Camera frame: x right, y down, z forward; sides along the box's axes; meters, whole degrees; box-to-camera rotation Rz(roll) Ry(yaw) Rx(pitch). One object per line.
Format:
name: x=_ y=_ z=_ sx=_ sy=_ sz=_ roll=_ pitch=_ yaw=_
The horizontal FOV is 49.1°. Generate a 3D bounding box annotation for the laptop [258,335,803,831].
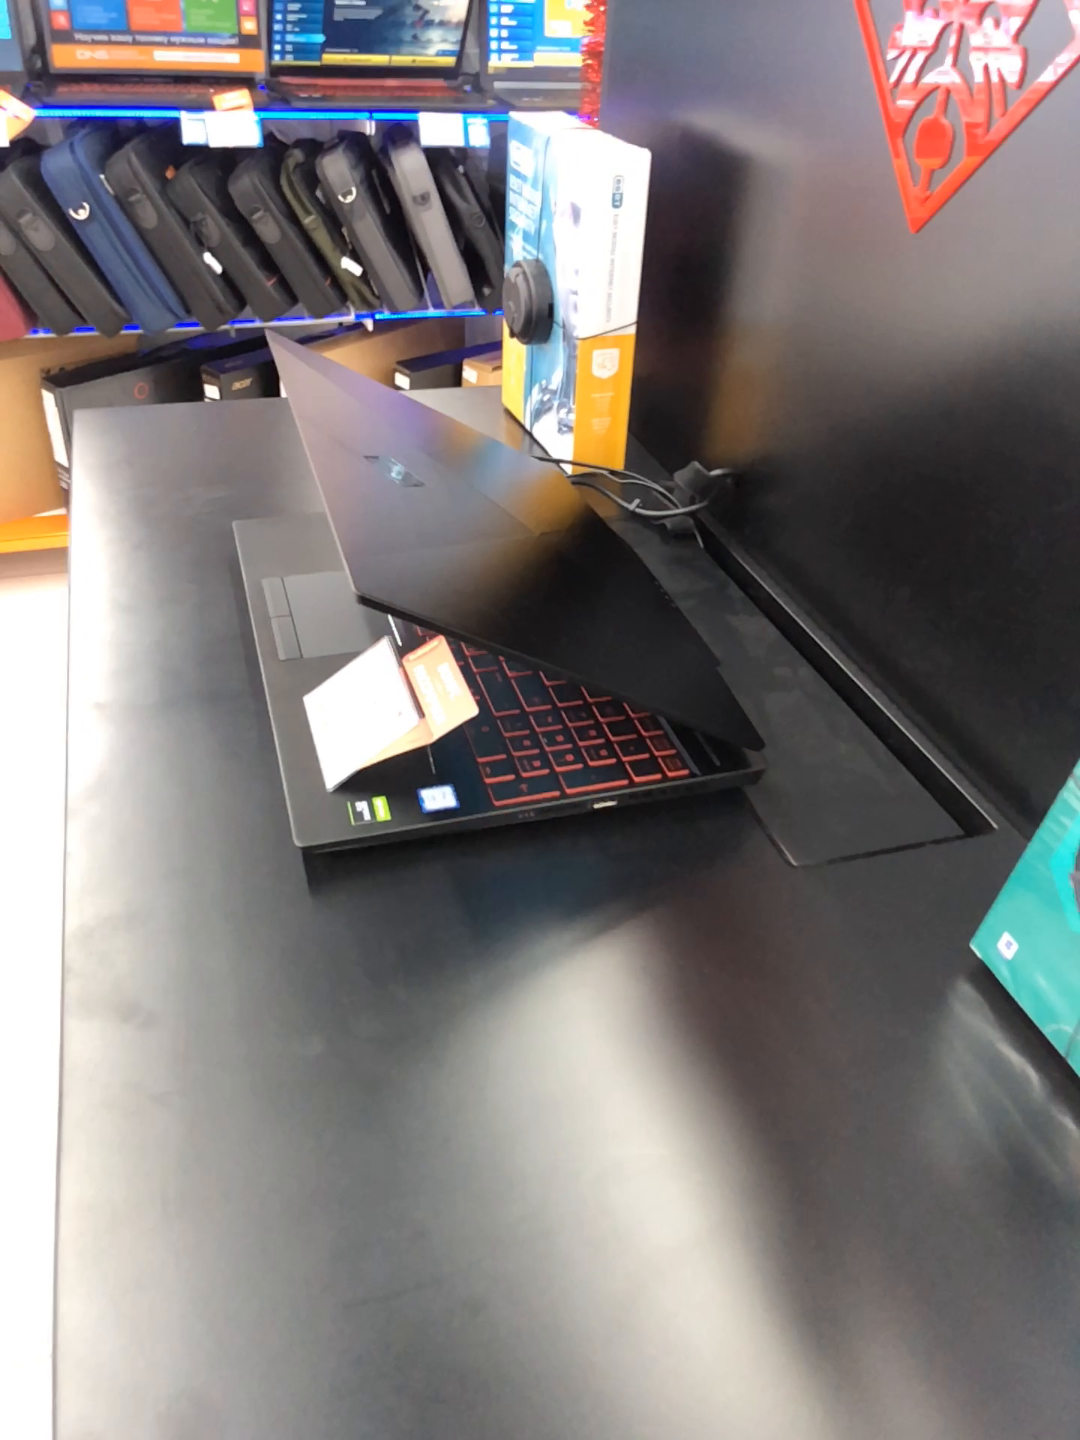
laptop: x=-0.036 y=-0.108 z=0.685 sx=0.230 sy=0.121 sz=0.352 roll=-7 pitch=33 yaw=-12
